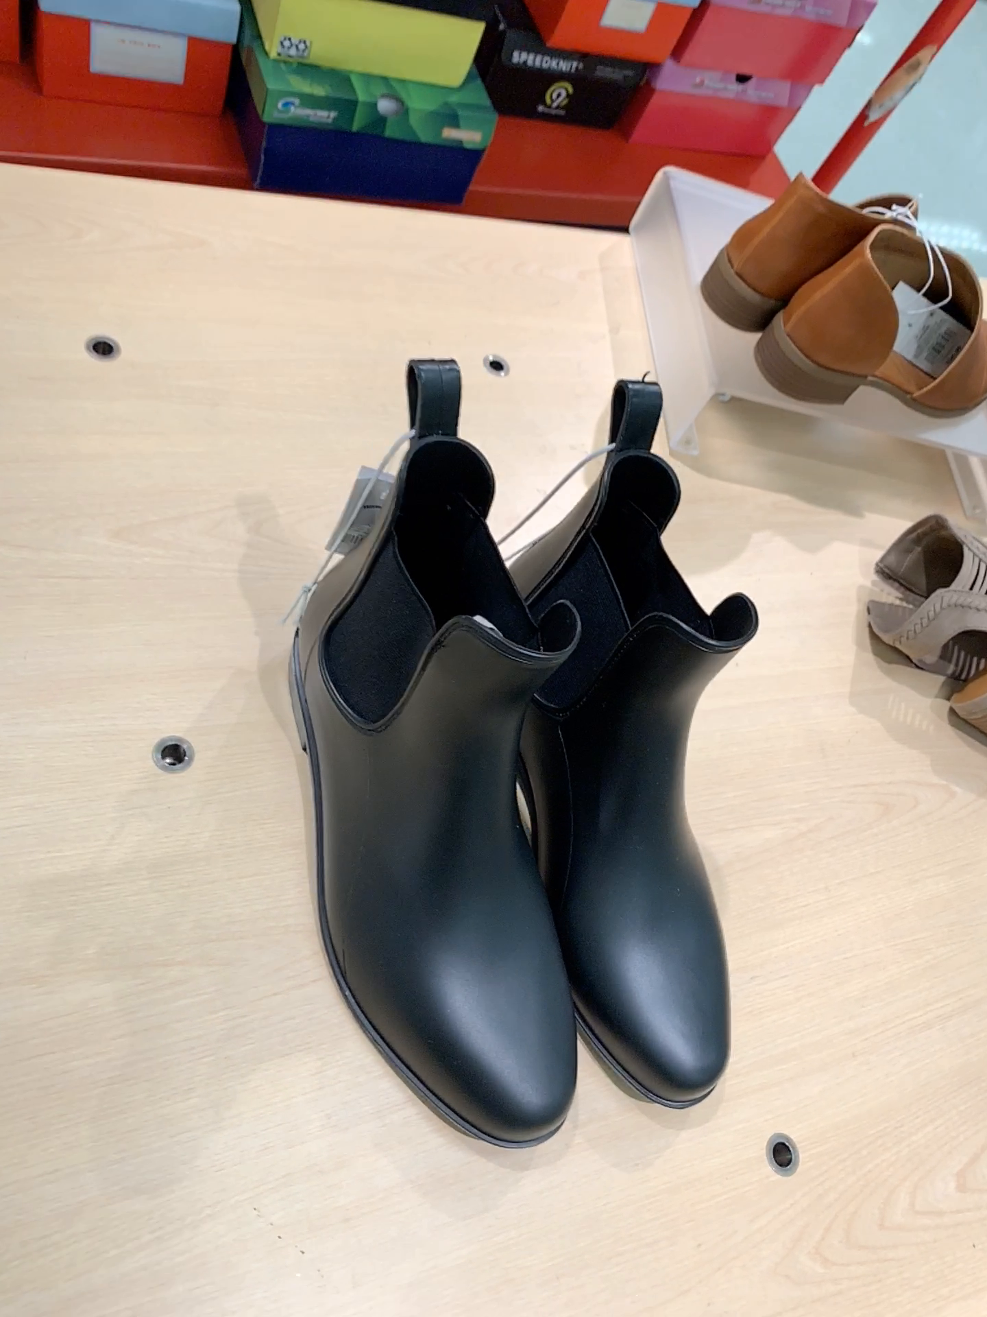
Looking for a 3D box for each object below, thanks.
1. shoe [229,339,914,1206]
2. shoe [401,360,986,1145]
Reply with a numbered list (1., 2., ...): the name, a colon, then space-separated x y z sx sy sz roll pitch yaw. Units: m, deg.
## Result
1. shoe: -0.003 0.050 0.420 0.113 0.202 0.286 -10 67 -28
2. shoe: 0.076 0.046 0.460 0.100 0.199 0.286 -10 67 -28
